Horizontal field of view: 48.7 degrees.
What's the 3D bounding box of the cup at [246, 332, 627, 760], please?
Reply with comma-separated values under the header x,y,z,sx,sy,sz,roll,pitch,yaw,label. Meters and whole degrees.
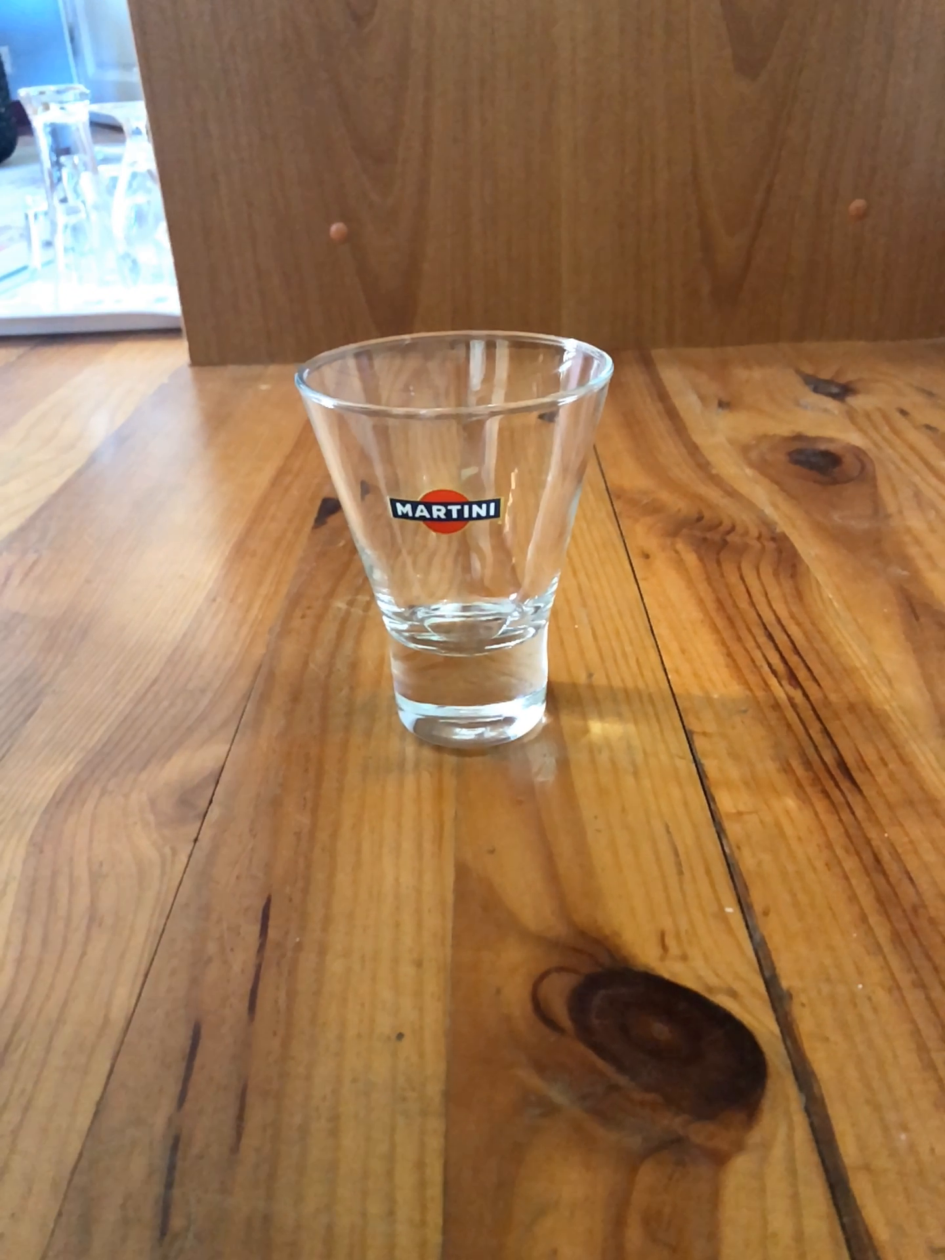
x,y,z,sx,sy,sz,roll,pitch,yaw,label
-0.002,-0.029,0.312,0.091,0.097,0.089,-2,29,1,cup
